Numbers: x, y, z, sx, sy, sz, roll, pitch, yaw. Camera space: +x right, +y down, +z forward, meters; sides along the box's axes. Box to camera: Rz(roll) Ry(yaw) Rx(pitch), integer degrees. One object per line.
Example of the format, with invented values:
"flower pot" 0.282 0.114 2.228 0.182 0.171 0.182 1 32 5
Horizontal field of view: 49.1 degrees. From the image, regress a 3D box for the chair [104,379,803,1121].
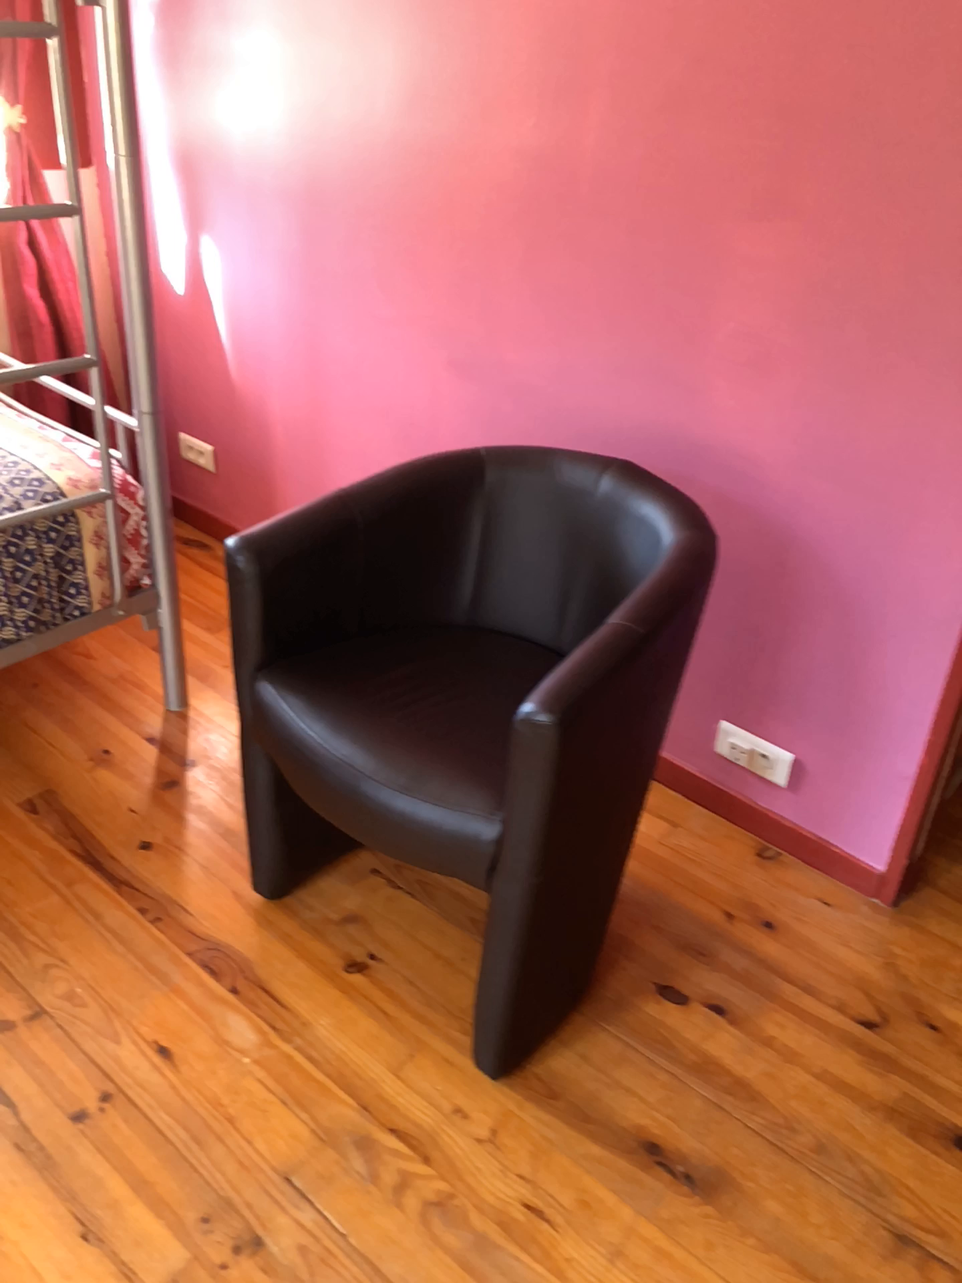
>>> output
"chair" -0.046 0.080 1.508 0.670 0.646 0.593 26 37 32
